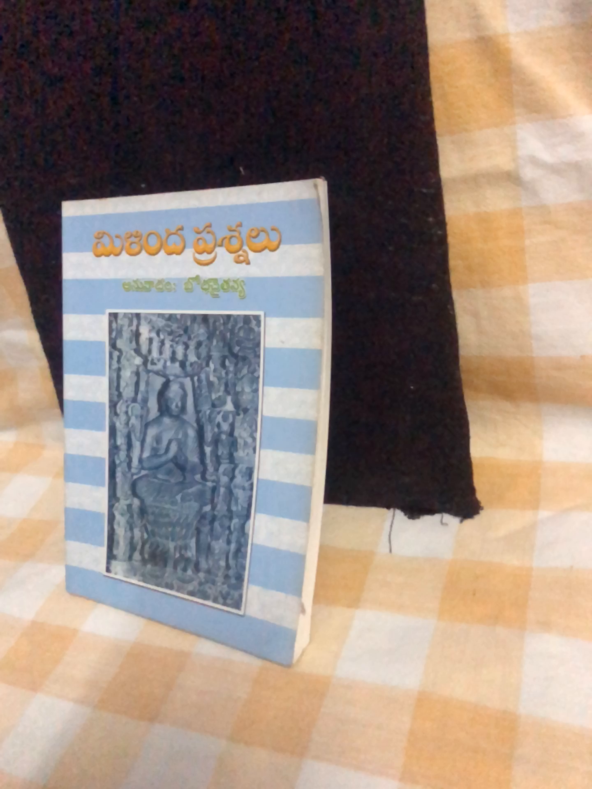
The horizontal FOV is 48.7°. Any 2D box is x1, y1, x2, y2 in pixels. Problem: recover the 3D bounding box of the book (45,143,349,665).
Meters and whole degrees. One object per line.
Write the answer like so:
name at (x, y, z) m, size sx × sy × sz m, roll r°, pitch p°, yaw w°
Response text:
book at (-0.056, 0.000, 0.316) m, size 0.160 × 0.210 × 0.030 m, roll 4°, pitch 5°, yaw 31°
